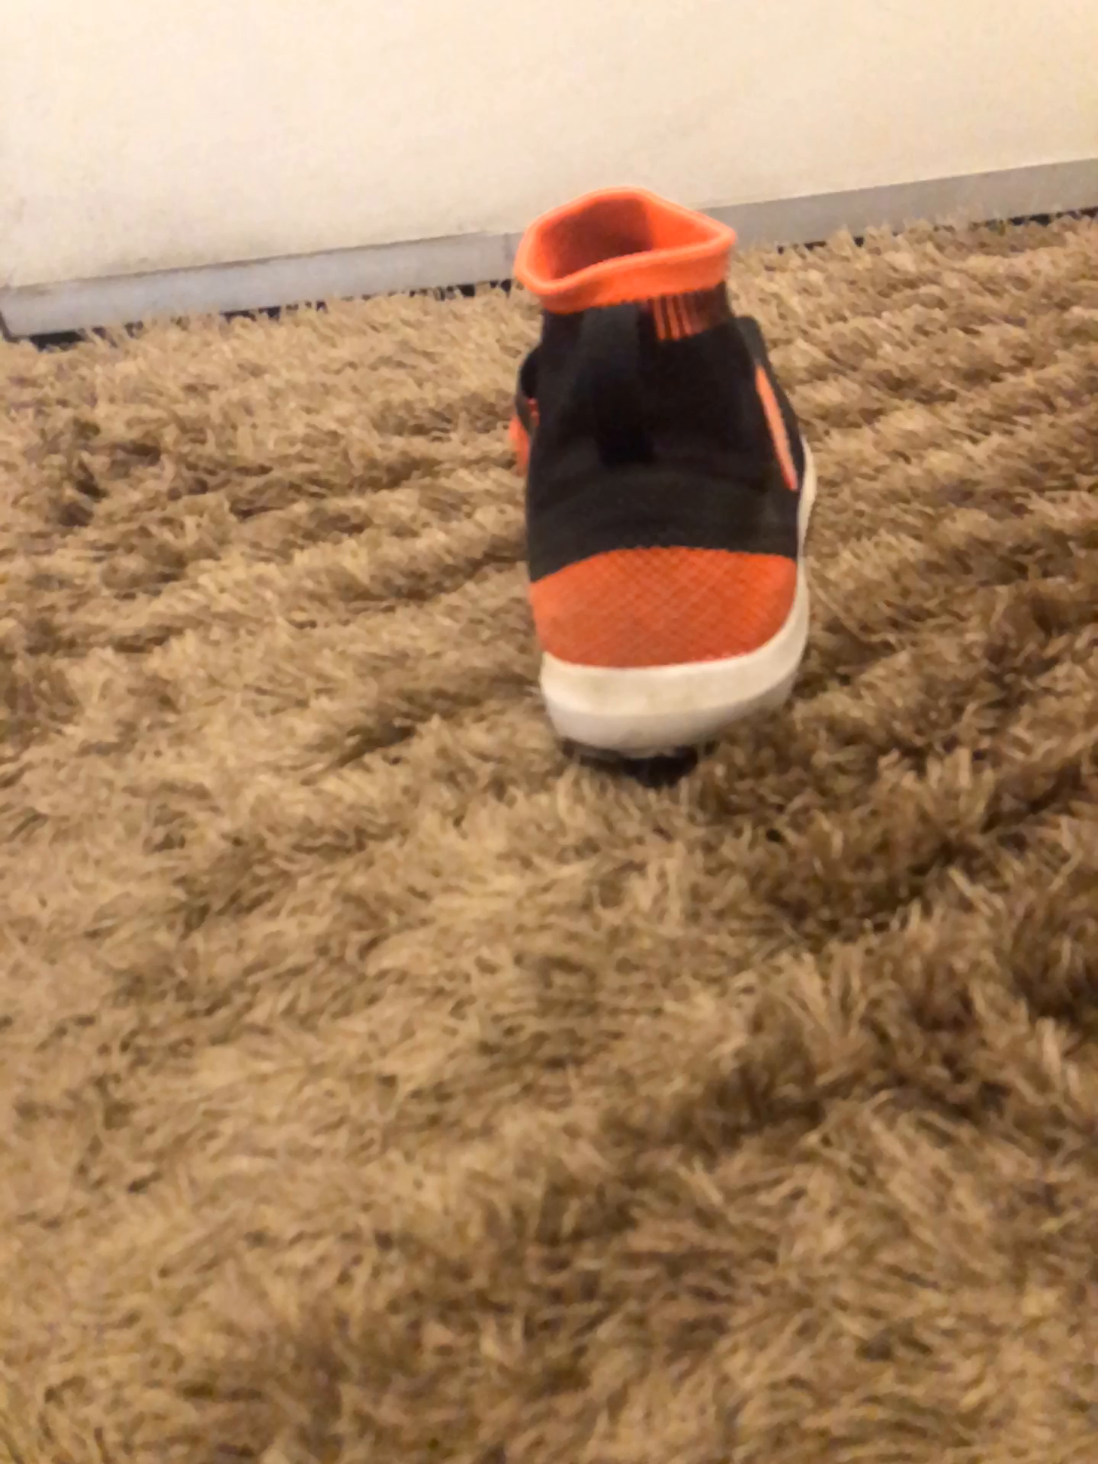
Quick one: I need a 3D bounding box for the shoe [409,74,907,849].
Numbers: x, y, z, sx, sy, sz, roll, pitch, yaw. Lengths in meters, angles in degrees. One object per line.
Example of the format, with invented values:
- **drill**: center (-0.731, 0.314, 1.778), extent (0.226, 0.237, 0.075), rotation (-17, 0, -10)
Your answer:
- **shoe**: center (0.045, -0.117, 0.424), extent (0.110, 0.139, 0.305), rotation (-2, 39, 9)
